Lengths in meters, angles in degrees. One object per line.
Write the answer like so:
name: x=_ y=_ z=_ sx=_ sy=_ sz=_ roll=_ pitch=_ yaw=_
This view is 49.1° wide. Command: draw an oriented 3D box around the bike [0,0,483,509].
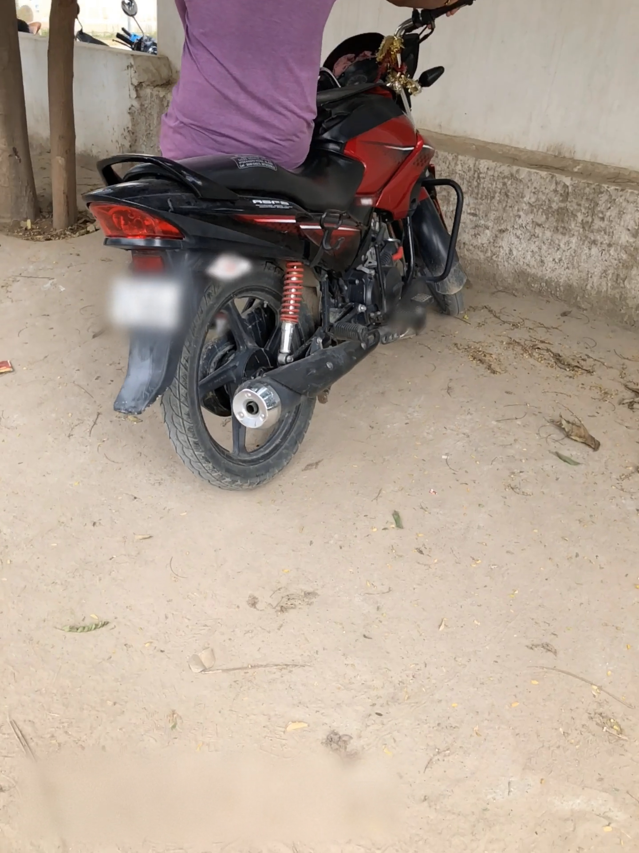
bike: x=-0.112 y=-0.876 z=2.144 sx=0.740 sy=1.086 sz=1.711 roll=14 pitch=38 yaw=15
